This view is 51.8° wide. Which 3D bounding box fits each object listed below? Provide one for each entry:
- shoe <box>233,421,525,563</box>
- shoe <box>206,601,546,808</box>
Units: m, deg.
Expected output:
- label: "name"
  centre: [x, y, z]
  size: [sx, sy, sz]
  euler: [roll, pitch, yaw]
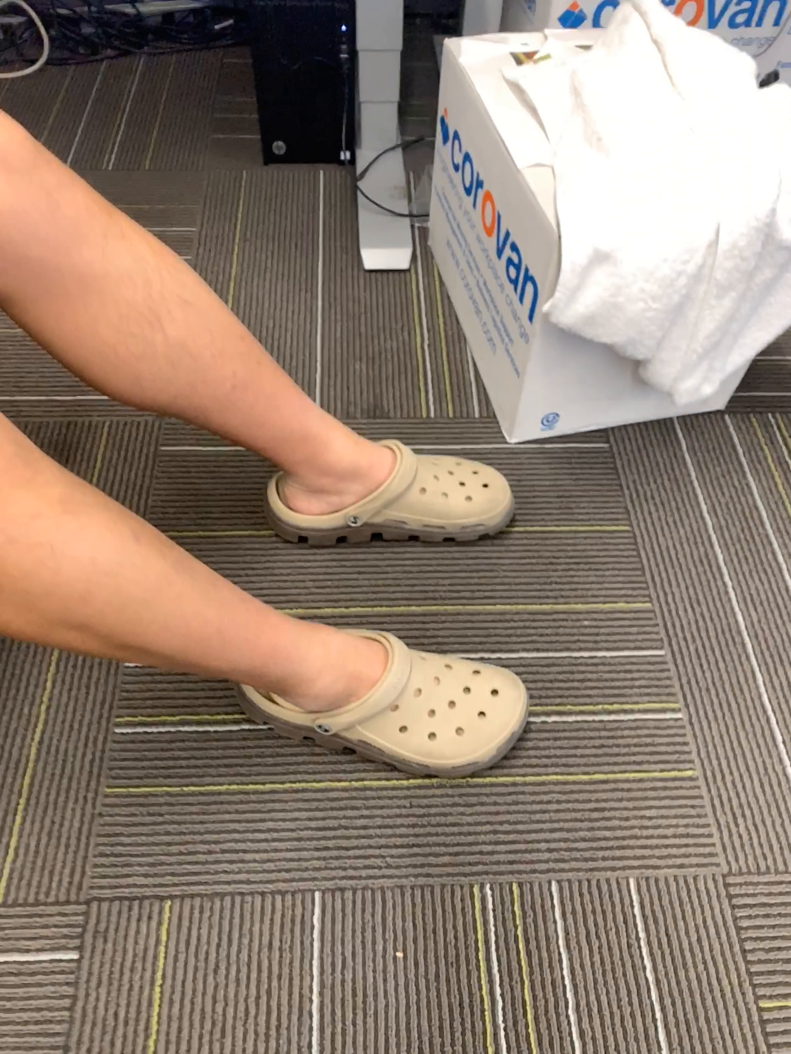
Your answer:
- label: "shoe"
  centre: [-0.018, -0.044, 0.995]
  size: [0.330, 0.079, 0.141]
  euler: [3, 54, 0]
- label: "shoe"
  centre: [-0.015, 0.182, 0.847]
  size: [0.321, 0.080, 0.135]
  euler: [10, 55, 5]
